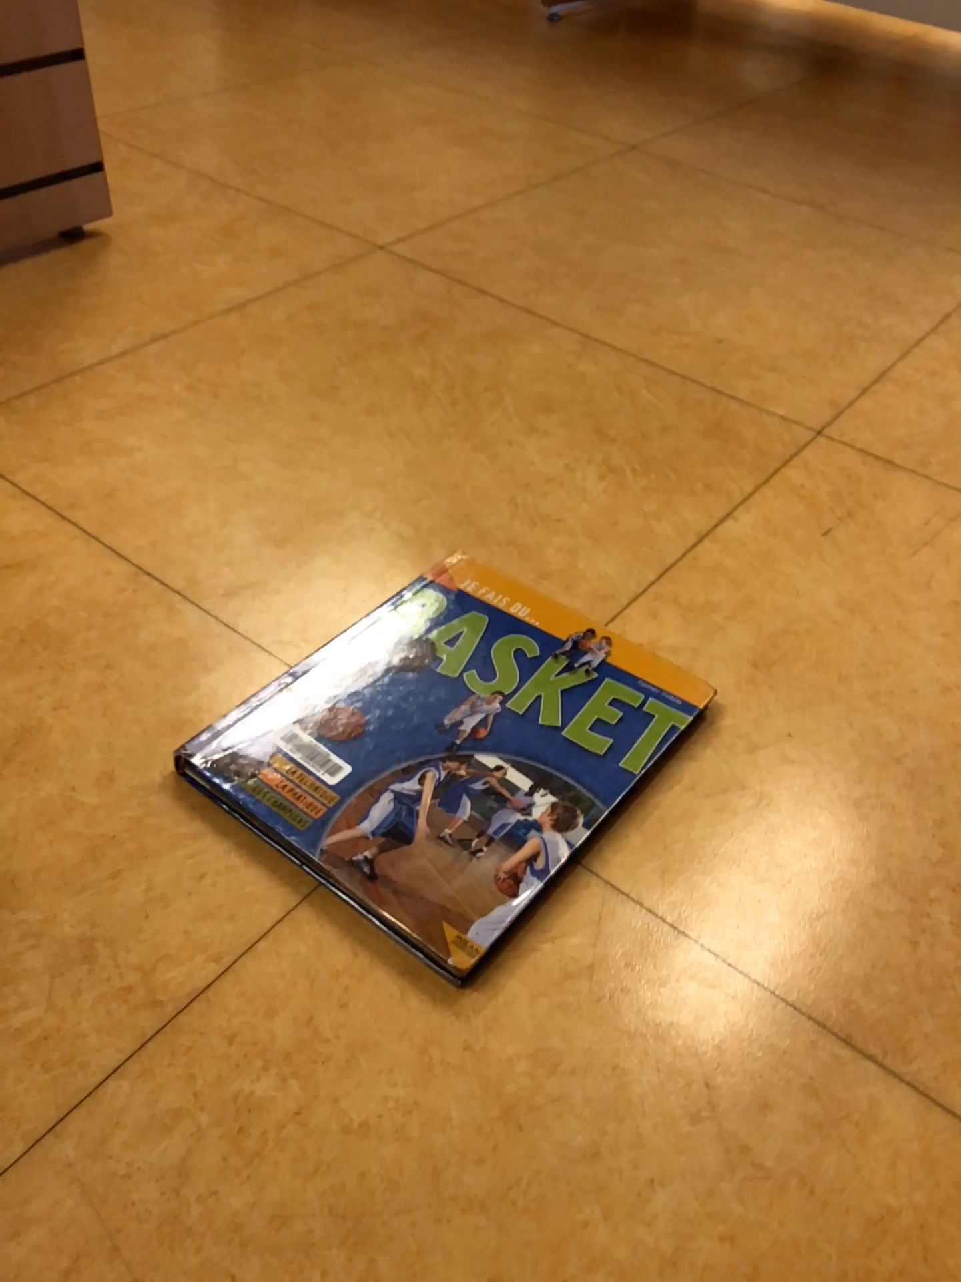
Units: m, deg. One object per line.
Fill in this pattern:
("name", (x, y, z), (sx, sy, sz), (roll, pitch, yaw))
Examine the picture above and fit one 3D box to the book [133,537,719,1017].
("book", (-0.021, 0.050, 0.595), (0.210, 0.020, 0.258), (30, 47, 24))
